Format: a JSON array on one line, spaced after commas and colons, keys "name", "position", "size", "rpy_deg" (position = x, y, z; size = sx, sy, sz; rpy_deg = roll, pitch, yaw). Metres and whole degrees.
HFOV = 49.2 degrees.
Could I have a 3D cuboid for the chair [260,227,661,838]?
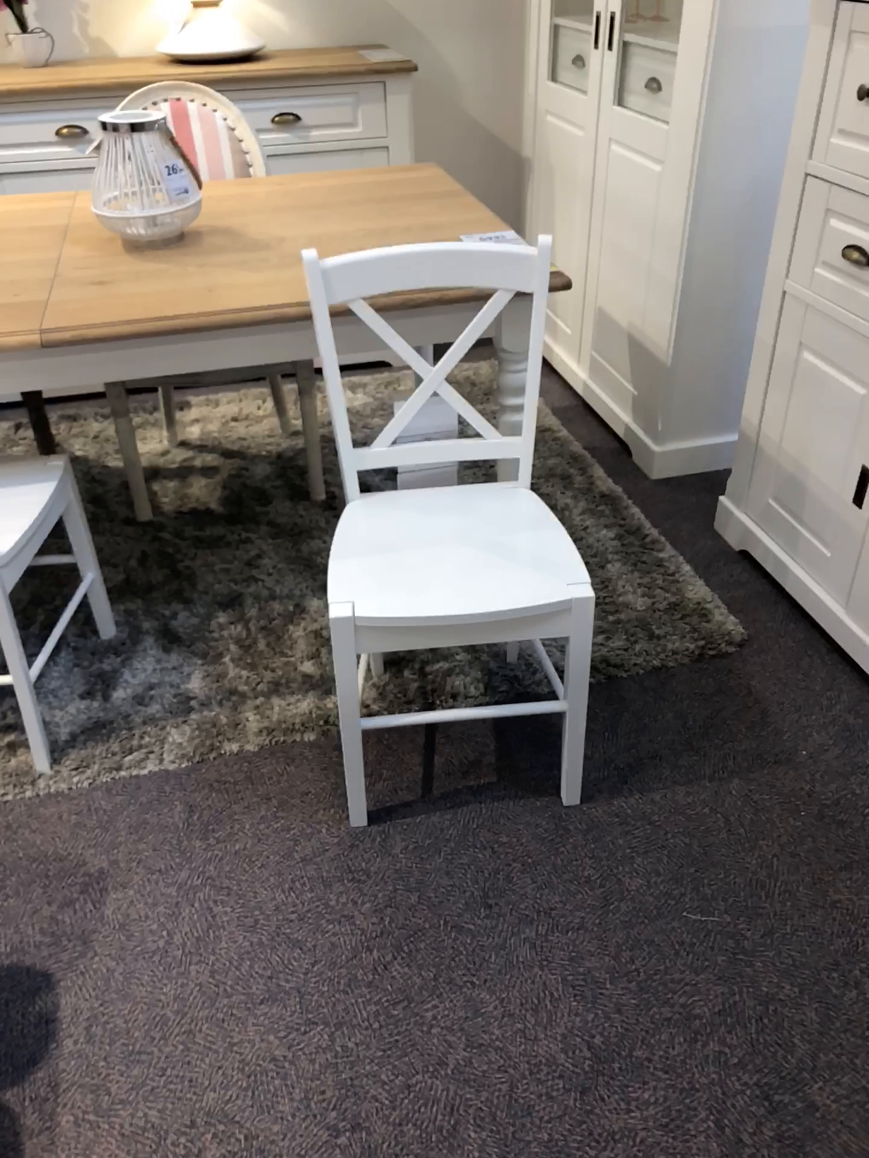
[{"name": "chair", "position": [0.013, -0.072, 1.483], "size": [0.460, 0.785, 0.463], "rpy_deg": [-6, 34, -6]}]
